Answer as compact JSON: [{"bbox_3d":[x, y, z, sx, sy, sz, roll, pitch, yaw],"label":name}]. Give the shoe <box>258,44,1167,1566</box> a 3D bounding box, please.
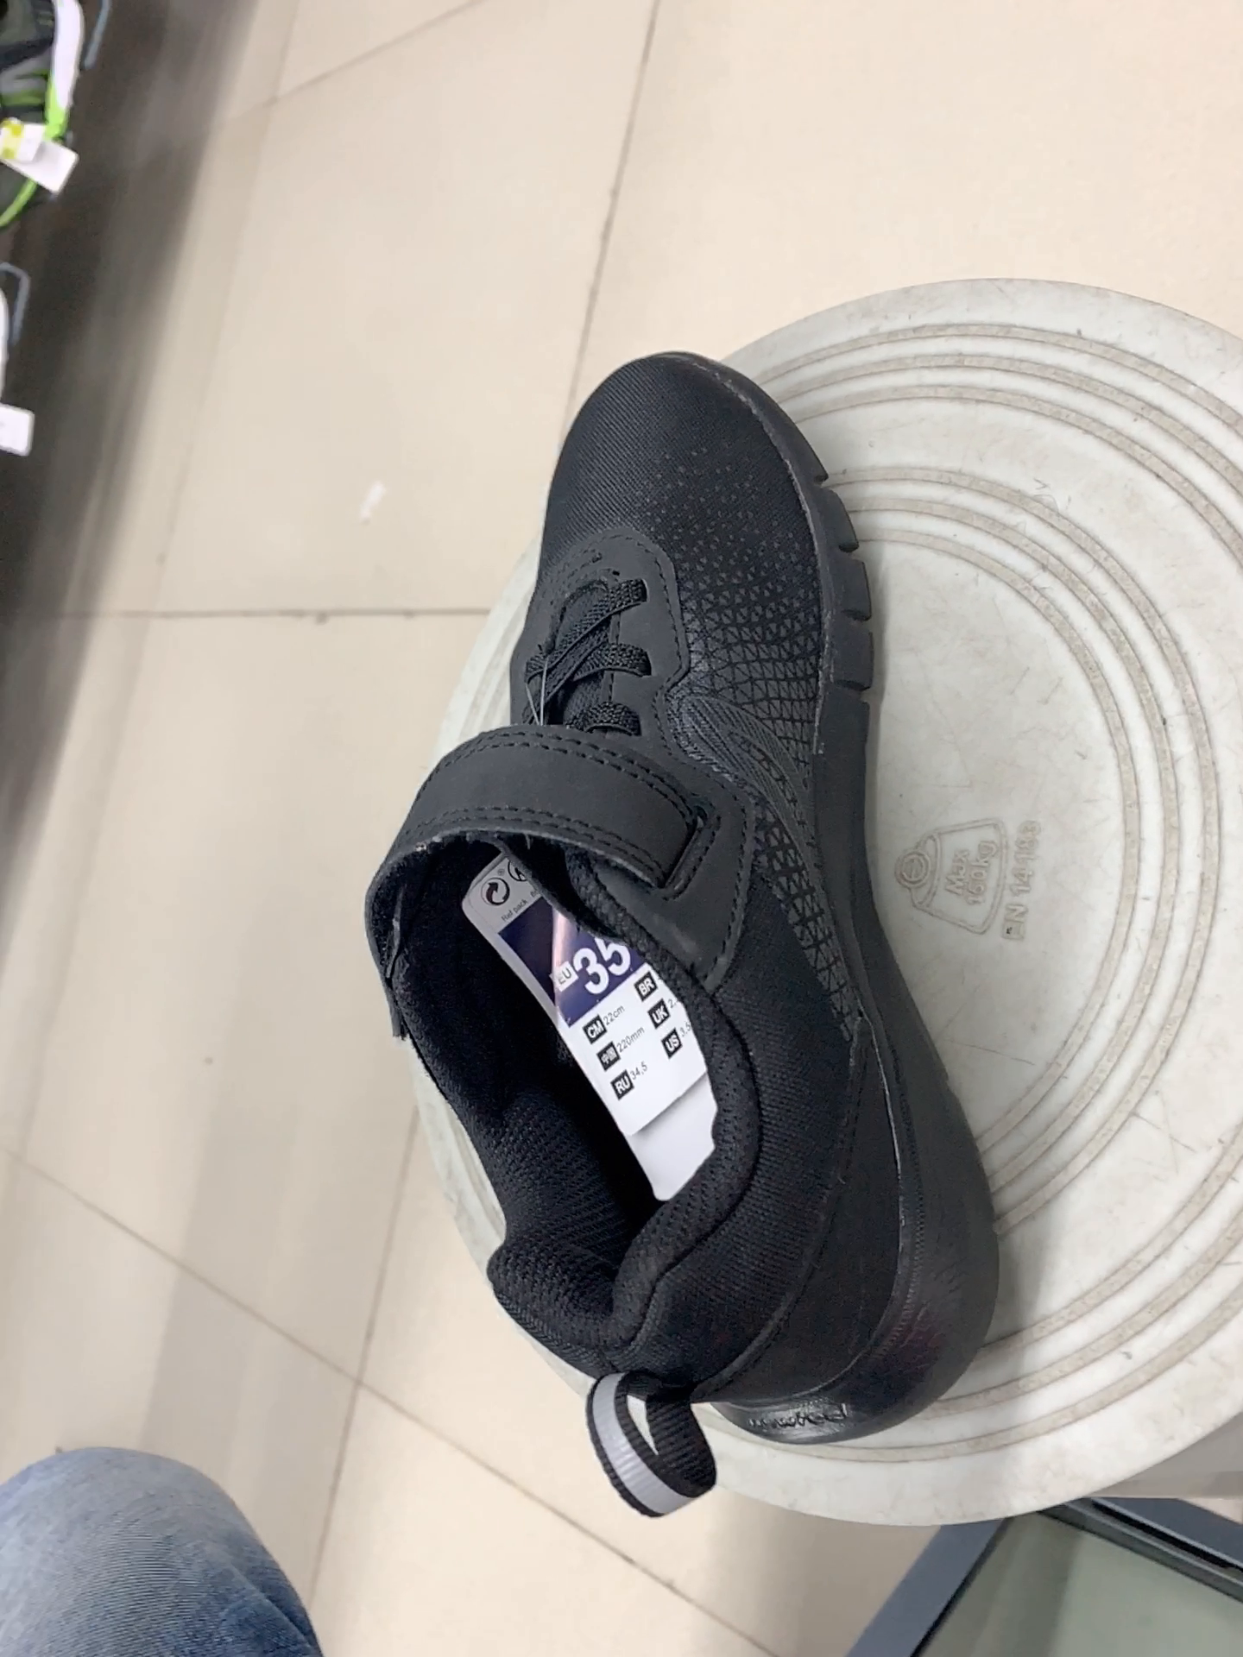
[{"bbox_3d":[0.001,-0.009,0.252,0.100,0.080,0.250,-27,62,33],"label":"shoe"}]
